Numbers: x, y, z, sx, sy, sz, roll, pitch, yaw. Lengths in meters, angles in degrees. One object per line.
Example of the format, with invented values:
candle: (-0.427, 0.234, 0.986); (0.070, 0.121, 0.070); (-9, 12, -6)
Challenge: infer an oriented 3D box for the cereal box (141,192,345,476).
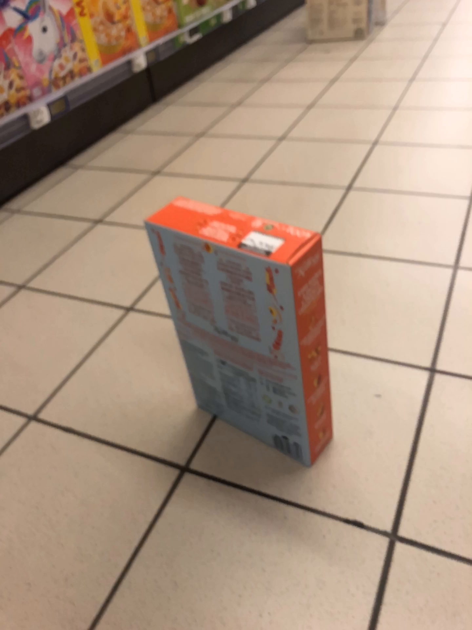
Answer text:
cereal box: (0.015, 0.021, 0.462); (0.150, 0.229, 0.050); (21, 49, 33)
